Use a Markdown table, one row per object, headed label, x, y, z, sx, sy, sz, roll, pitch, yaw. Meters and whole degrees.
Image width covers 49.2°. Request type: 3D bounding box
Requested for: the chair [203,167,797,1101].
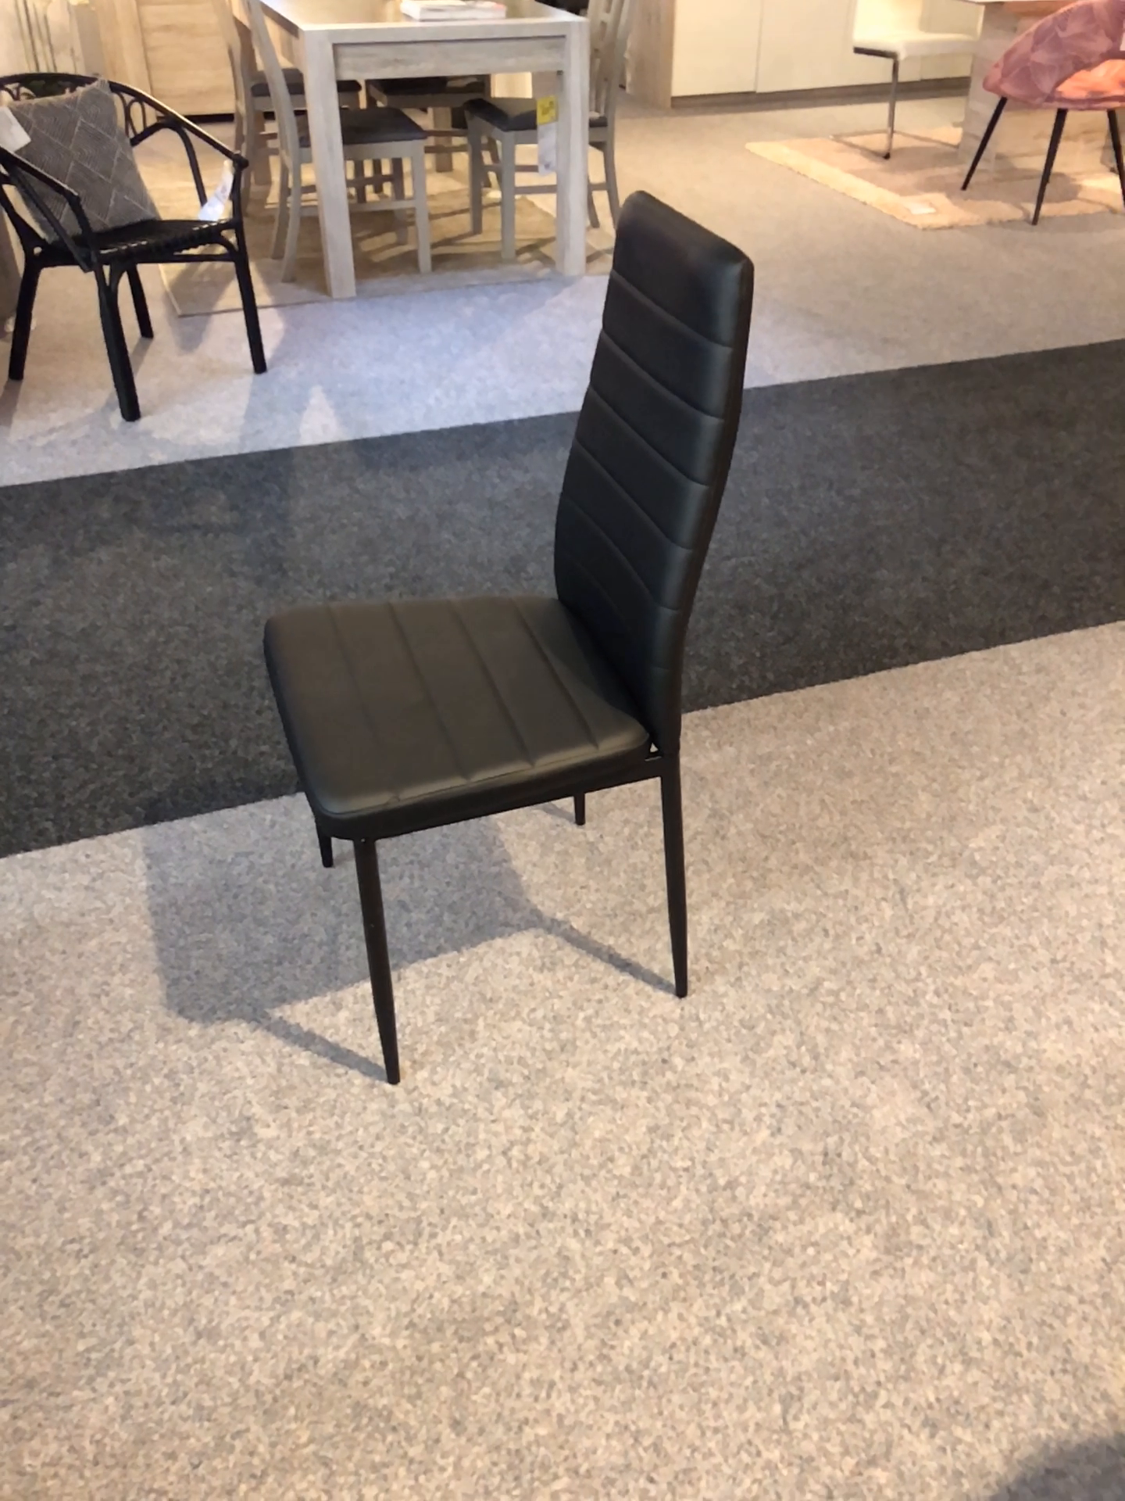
| label | x | y | z | sx | sy | sz | roll | pitch | yaw |
| --- | --- | --- | --- | --- | --- | --- | --- | --- | --- |
| chair | -0.091 | -0.126 | 1.463 | 0.471 | 0.934 | 0.472 | -10 | 37 | -14 |
